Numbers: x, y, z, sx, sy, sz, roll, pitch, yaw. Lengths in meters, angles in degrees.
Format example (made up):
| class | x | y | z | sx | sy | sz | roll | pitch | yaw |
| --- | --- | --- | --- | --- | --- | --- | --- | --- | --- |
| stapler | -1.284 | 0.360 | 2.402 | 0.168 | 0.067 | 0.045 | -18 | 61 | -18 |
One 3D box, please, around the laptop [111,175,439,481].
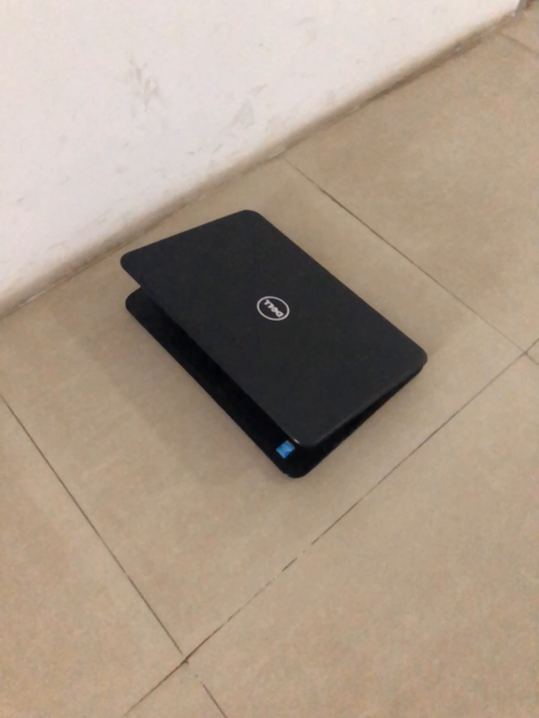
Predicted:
| class | x | y | z | sx | sy | sz | roll | pitch | yaw |
| --- | --- | --- | --- | --- | --- | --- | --- | --- | --- |
| laptop | 0.000 | -0.060 | 0.802 | 0.248 | 0.078 | 0.357 | -39 | 68 | -18 |
